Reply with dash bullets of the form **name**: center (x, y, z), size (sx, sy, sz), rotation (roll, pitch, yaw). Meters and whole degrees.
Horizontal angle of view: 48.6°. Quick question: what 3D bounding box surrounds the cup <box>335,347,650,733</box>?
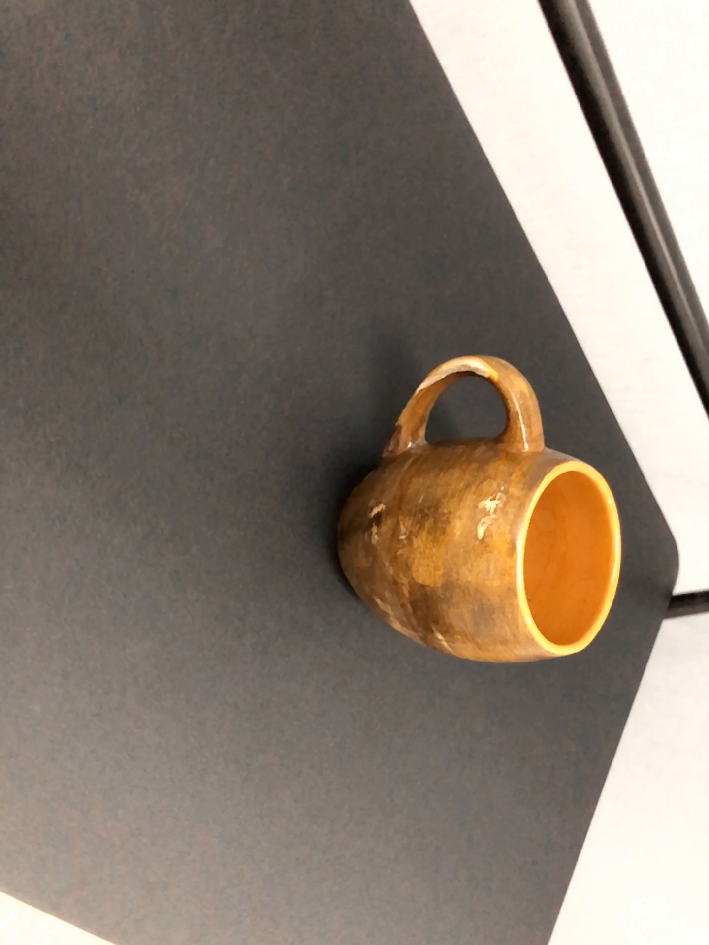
- **cup**: center (0.058, 0.022, 0.331), size (0.093, 0.092, 0.131), rotation (0, 92, -46)
